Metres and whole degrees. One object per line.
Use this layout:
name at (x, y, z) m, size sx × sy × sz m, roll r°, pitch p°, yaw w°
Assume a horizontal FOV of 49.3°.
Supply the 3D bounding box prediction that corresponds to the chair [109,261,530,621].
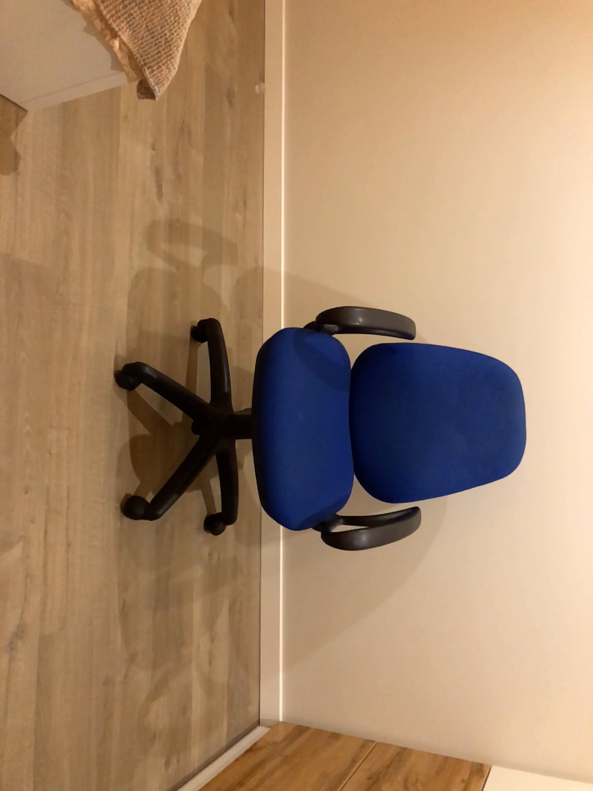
chair at (0.105, 0.091, 1.757) m, size 0.704 × 0.905 × 0.696 m, roll -5°, pitch 92°, yaw -65°
